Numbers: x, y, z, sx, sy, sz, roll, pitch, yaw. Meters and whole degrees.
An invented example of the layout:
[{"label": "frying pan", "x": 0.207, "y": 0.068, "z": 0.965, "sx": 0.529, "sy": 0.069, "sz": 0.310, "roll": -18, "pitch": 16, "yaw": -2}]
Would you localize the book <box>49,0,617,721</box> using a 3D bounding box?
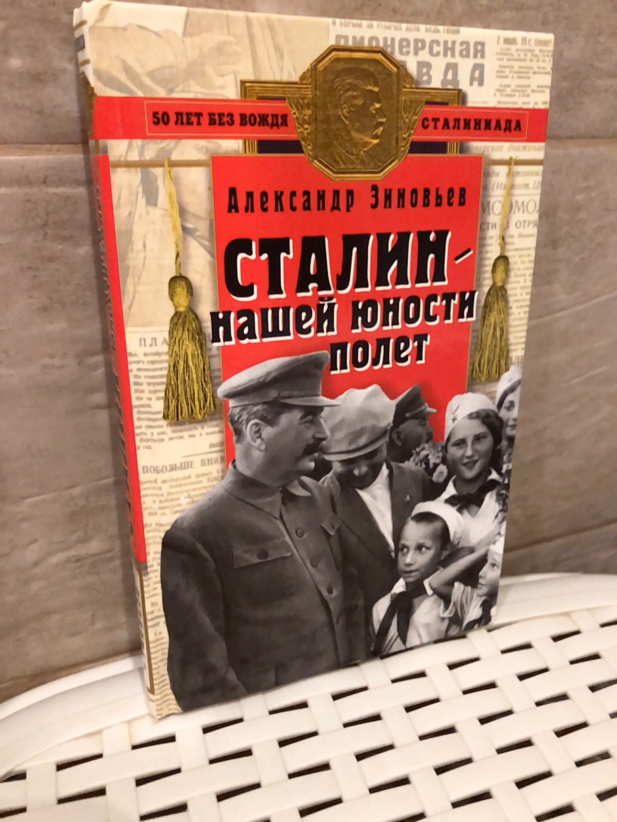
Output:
[{"label": "book", "x": 0.010, "y": -0.013, "z": 0.207, "sx": 0.140, "sy": 0.199, "sz": 0.030, "roll": -7, "pitch": 22, "yaw": -18}]
